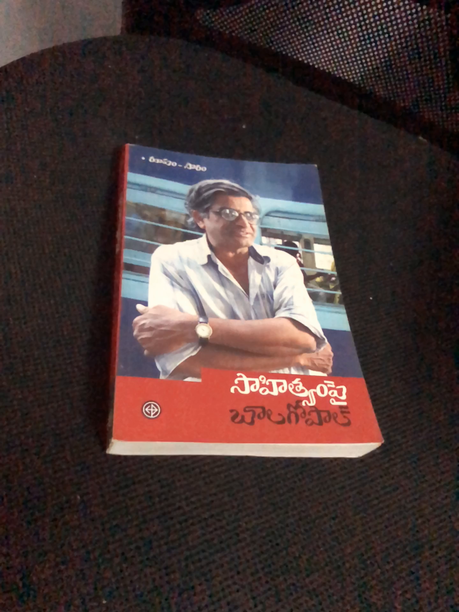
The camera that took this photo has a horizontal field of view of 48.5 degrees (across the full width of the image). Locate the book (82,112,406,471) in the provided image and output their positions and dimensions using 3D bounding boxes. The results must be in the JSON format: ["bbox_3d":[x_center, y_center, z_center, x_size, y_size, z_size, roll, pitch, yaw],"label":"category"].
[{"bbox_3d":[0.001,-0.020,0.304,0.152,0.030,0.225,5,55,-15],"label":"book"}]
